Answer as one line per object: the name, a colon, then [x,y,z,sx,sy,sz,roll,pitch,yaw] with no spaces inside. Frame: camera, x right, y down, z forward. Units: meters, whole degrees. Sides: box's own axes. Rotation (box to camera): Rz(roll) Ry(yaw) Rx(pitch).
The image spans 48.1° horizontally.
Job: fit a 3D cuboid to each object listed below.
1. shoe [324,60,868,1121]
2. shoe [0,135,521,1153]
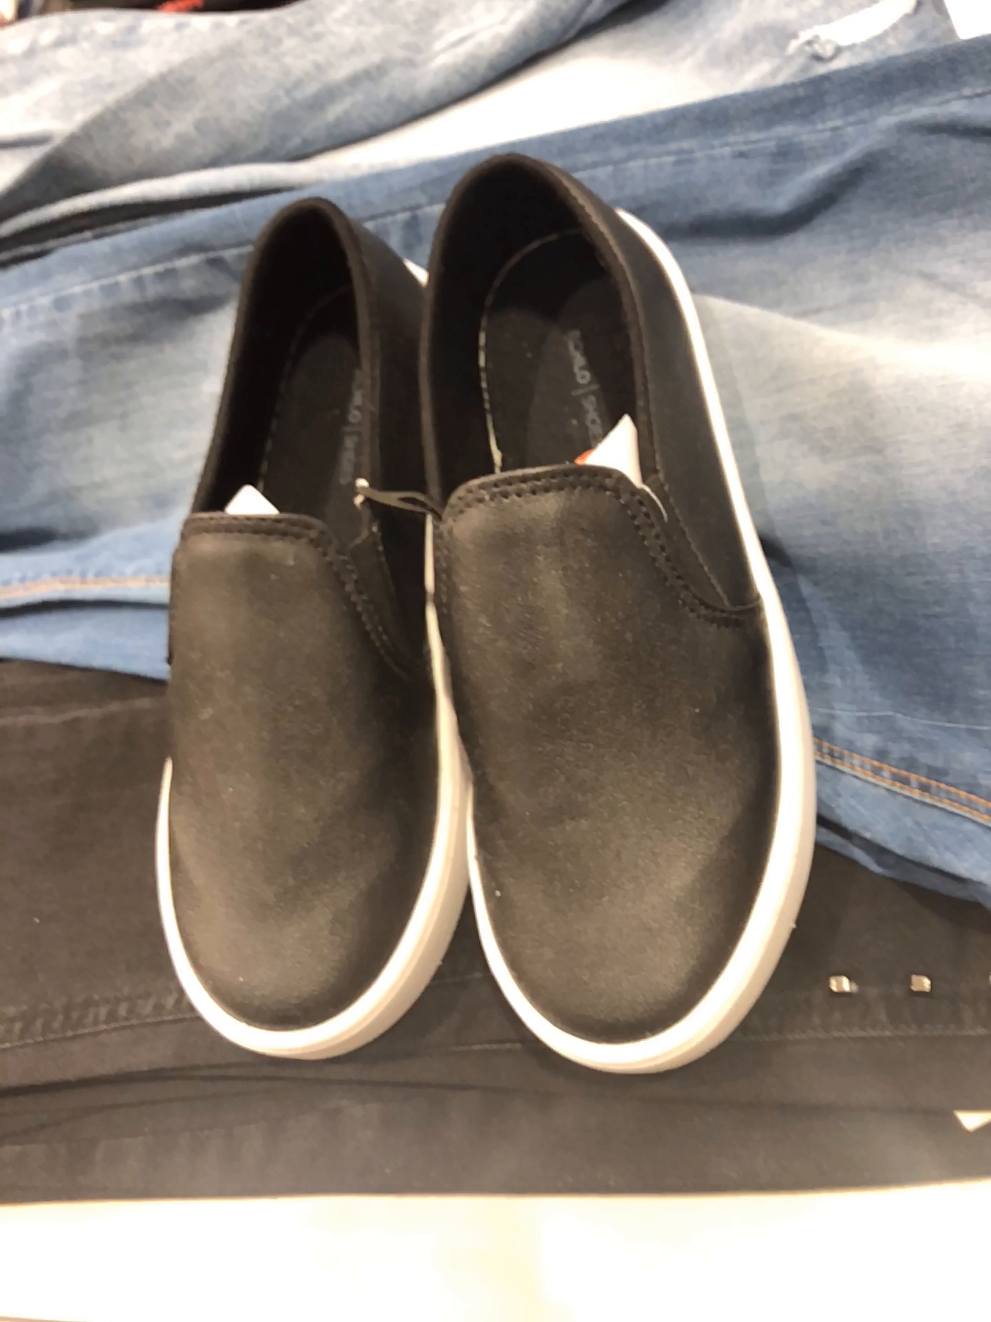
shoe: [0.025,-0.017,0.319,0.110,0.100,0.261,-8,73,13]
shoe: [-0.064,-0.006,0.335,0.110,0.100,0.261,-2,74,17]
